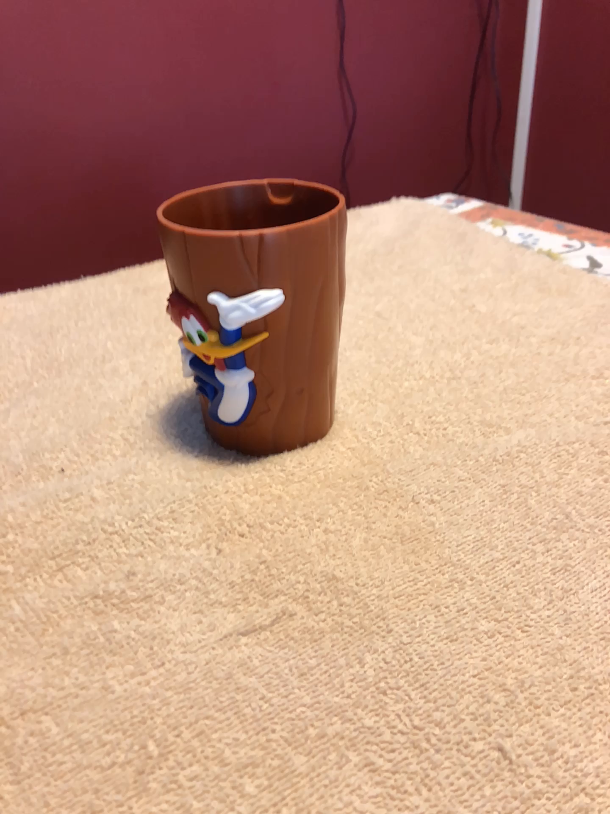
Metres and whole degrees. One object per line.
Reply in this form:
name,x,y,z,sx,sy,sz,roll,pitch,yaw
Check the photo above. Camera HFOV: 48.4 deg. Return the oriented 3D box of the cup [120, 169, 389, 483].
cup,-0.016,-0.043,0.317,0.080,0.109,0.091,12,33,25
